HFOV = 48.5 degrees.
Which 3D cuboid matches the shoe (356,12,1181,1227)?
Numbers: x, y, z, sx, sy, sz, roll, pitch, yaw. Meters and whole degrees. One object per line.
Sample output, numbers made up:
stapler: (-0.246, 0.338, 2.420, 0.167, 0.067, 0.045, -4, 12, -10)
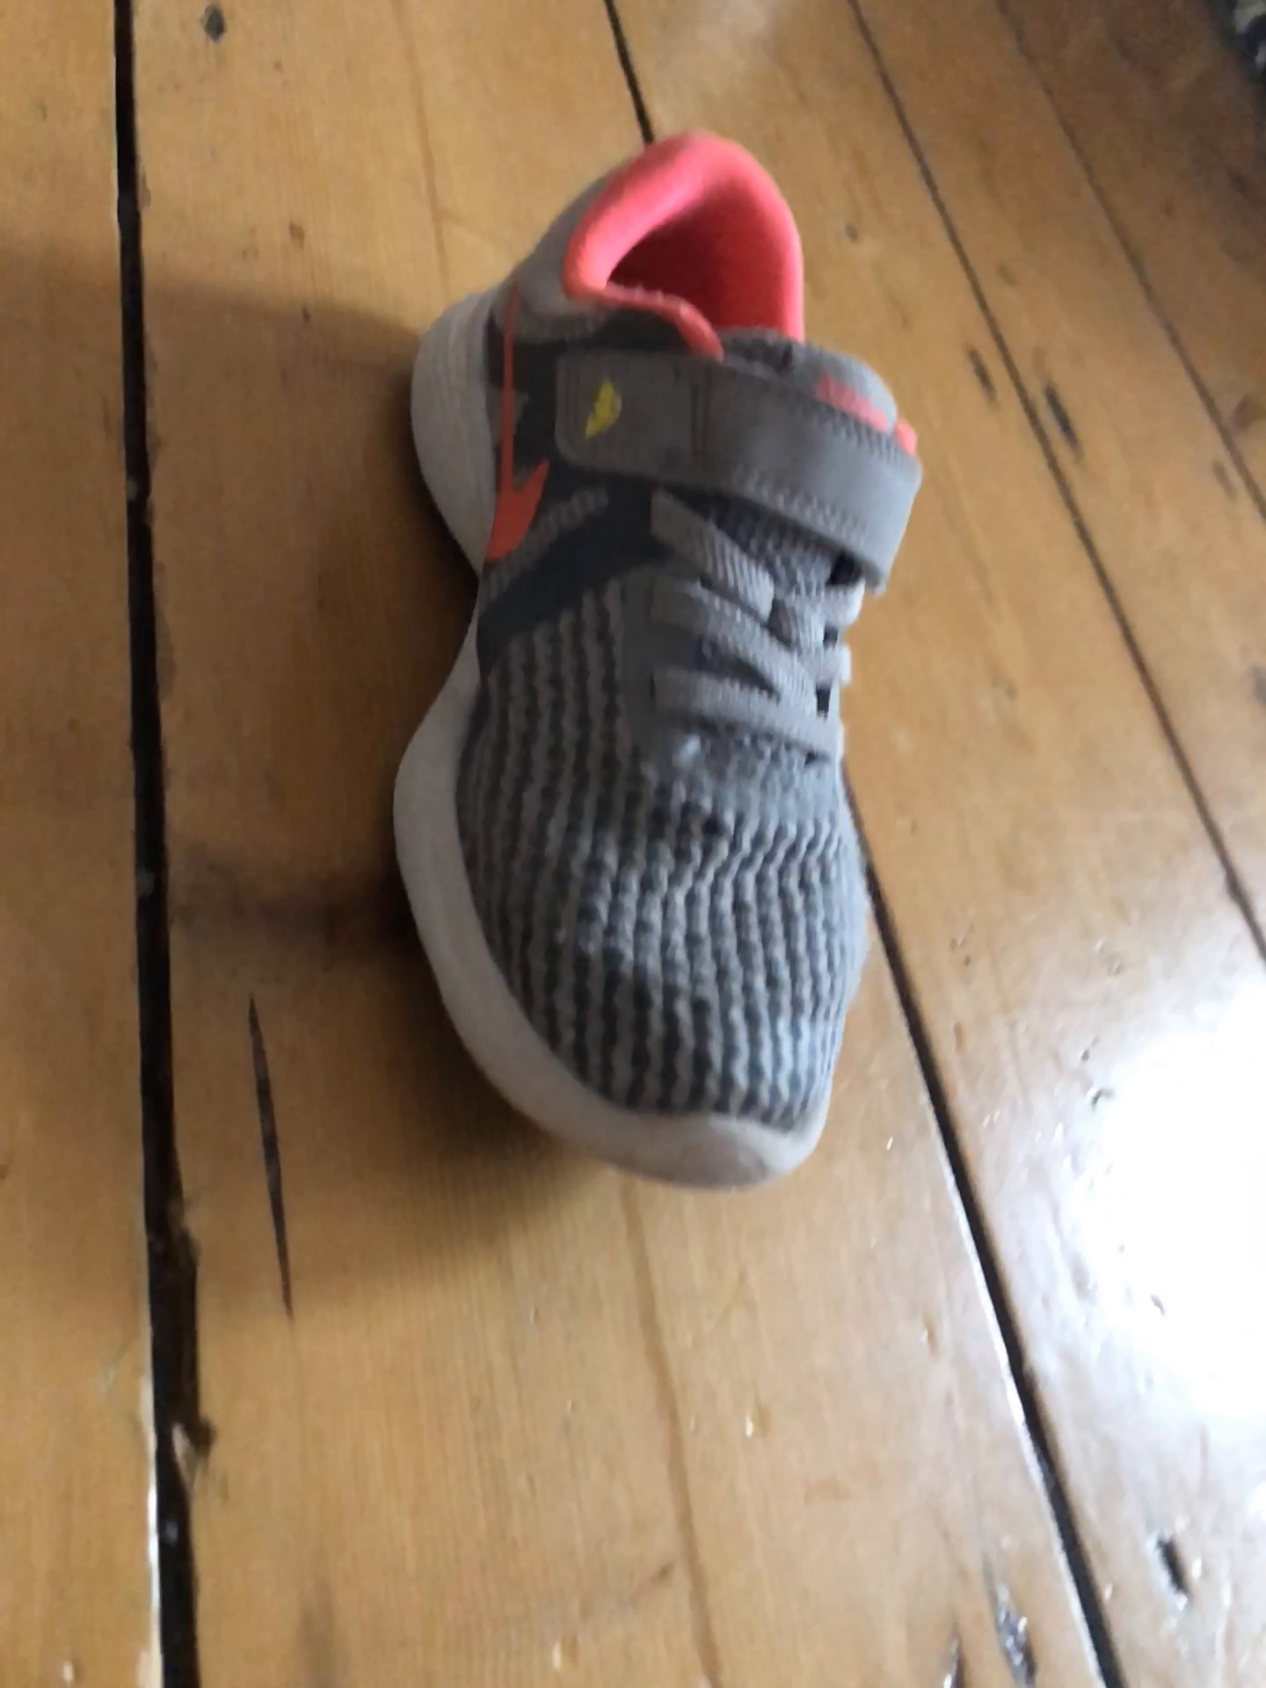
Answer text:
shoe: (0.009, -0.037, 0.234, 0.080, 0.070, 0.181, 13, 54, -33)
